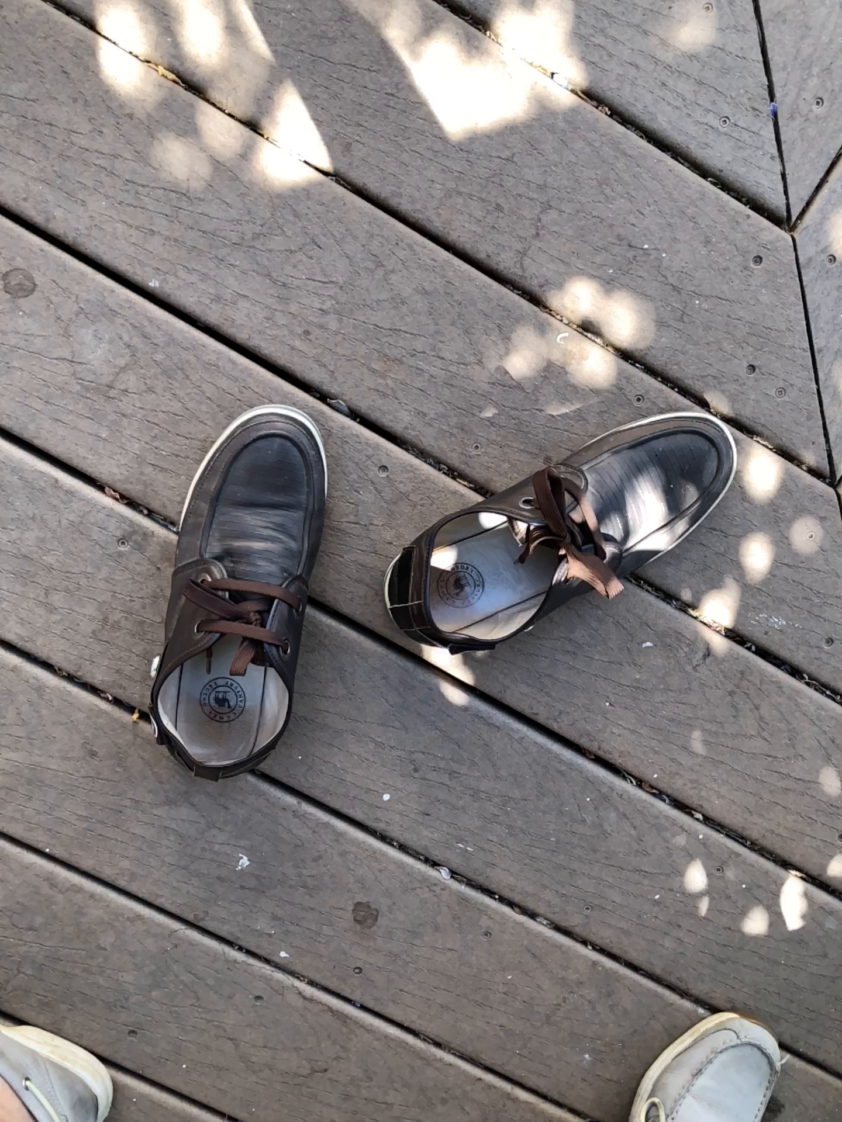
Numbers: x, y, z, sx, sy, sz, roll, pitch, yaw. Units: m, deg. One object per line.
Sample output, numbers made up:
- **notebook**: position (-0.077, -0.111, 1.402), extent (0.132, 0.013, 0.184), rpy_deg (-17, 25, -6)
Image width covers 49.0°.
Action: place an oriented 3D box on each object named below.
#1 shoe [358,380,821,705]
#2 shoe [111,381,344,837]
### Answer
- **shoe**: position (0.113, -0.021, 0.692), extent (0.303, 0.121, 0.108), rpy_deg (-24, 100, 1)
- **shoe**: position (-0.138, 0.029, 0.684), extent (0.108, 0.121, 0.301), rpy_deg (10, 99, -5)
